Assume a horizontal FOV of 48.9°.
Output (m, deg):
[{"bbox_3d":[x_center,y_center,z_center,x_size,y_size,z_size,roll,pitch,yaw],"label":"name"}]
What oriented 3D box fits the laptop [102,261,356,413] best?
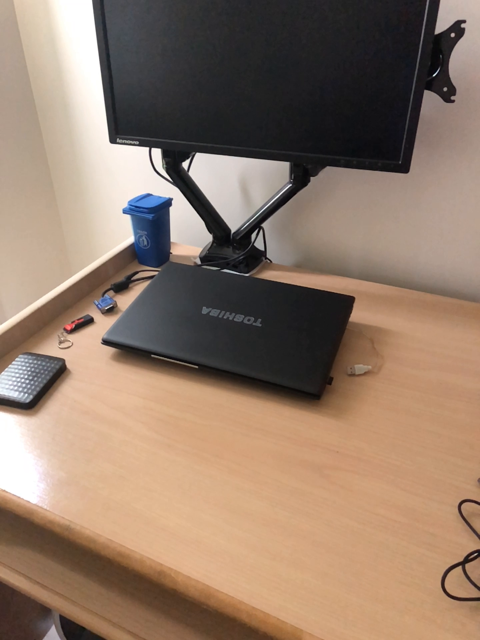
[{"bbox_3d":[-0.011,0.010,0.938,0.380,0.029,0.258,12,42,18],"label":"laptop"}]
